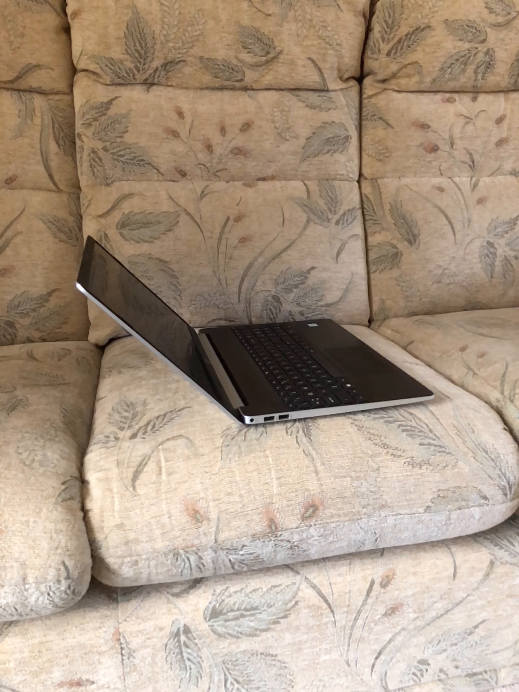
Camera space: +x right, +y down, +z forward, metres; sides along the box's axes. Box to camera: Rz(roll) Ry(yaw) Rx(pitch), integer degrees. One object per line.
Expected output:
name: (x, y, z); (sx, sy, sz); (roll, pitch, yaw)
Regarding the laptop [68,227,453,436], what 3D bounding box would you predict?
laptop: (-0.022, -0.051, 0.759); (0.397, 0.163, 0.340); (-5, 21, -14)
